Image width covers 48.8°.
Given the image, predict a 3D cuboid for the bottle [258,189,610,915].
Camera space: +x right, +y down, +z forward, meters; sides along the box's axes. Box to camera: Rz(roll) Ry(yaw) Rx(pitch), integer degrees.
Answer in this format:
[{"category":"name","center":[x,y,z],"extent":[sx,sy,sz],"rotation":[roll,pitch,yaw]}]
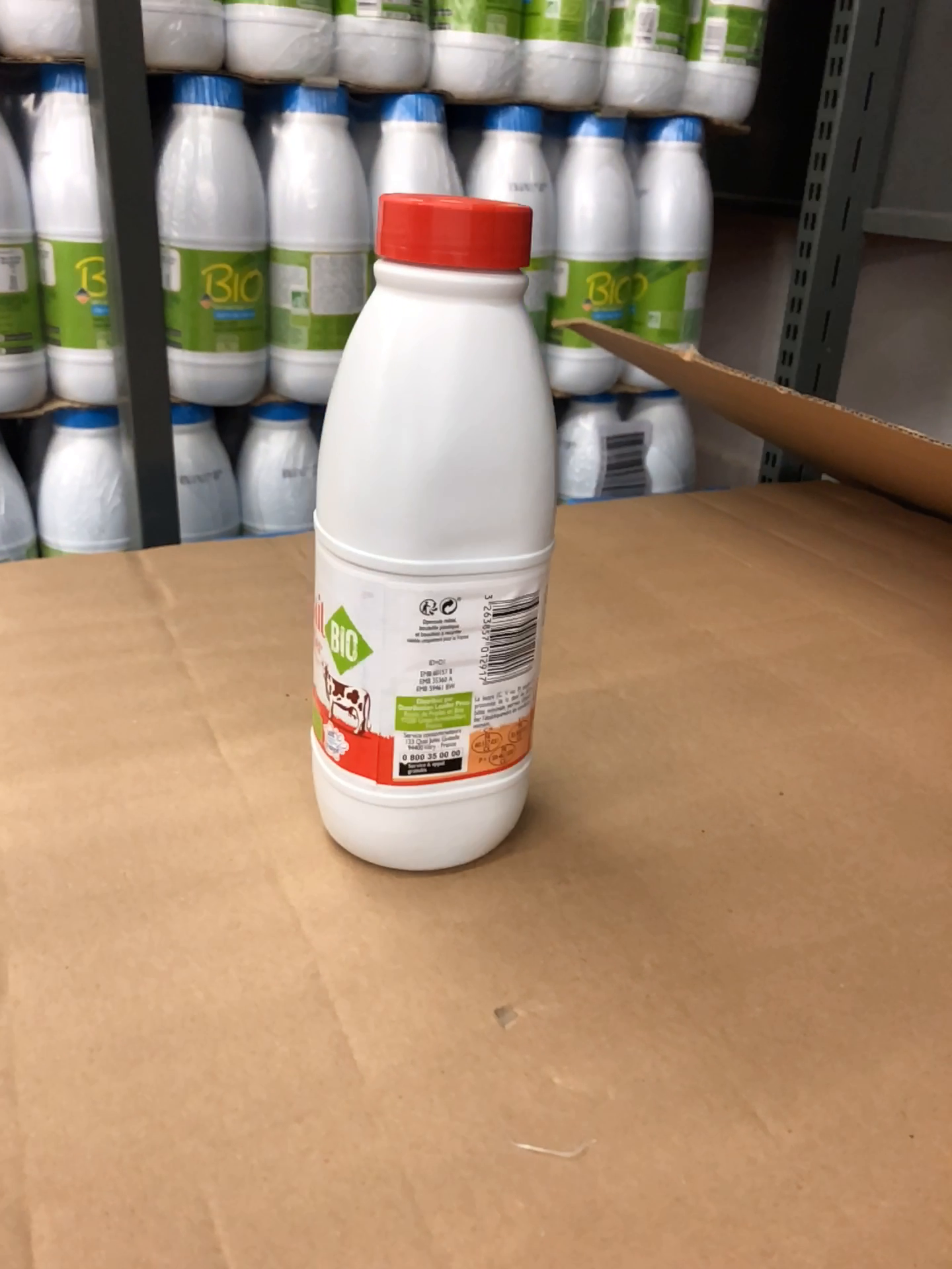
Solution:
[{"category":"bottle","center":[-0.021,-0.030,0.372],"extent":[0.080,0.229,0.090],"rotation":[-9,26,-24]}]
